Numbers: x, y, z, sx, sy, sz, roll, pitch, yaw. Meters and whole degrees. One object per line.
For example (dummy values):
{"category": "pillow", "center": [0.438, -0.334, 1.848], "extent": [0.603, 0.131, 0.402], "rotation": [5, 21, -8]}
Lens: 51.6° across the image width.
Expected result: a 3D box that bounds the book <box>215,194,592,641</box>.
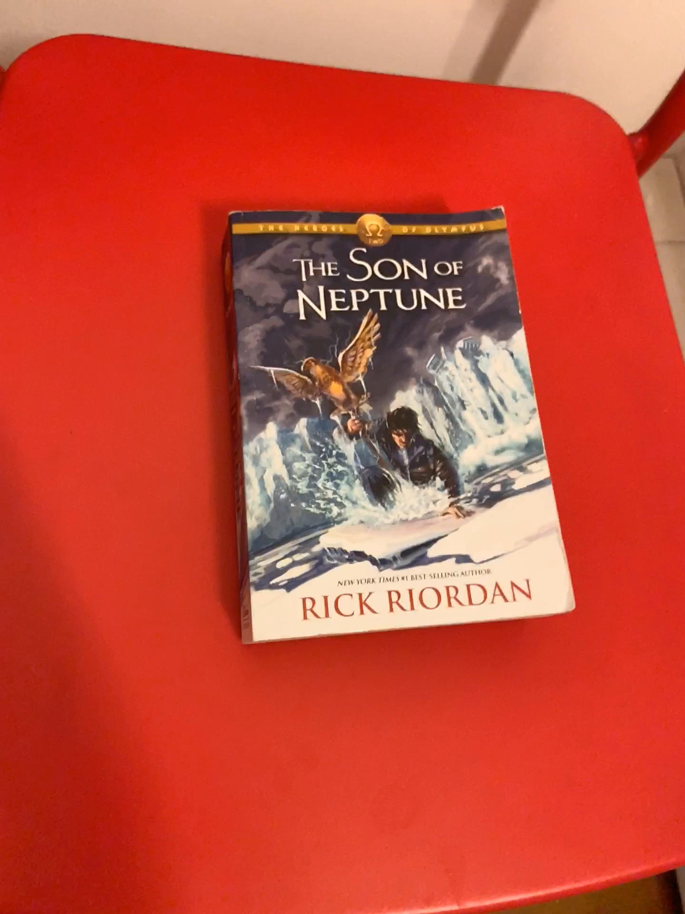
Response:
{"category": "book", "center": [0.019, -0.022, 0.316], "extent": [0.142, 0.040, 0.188], "rotation": [-2, 73, -11]}
